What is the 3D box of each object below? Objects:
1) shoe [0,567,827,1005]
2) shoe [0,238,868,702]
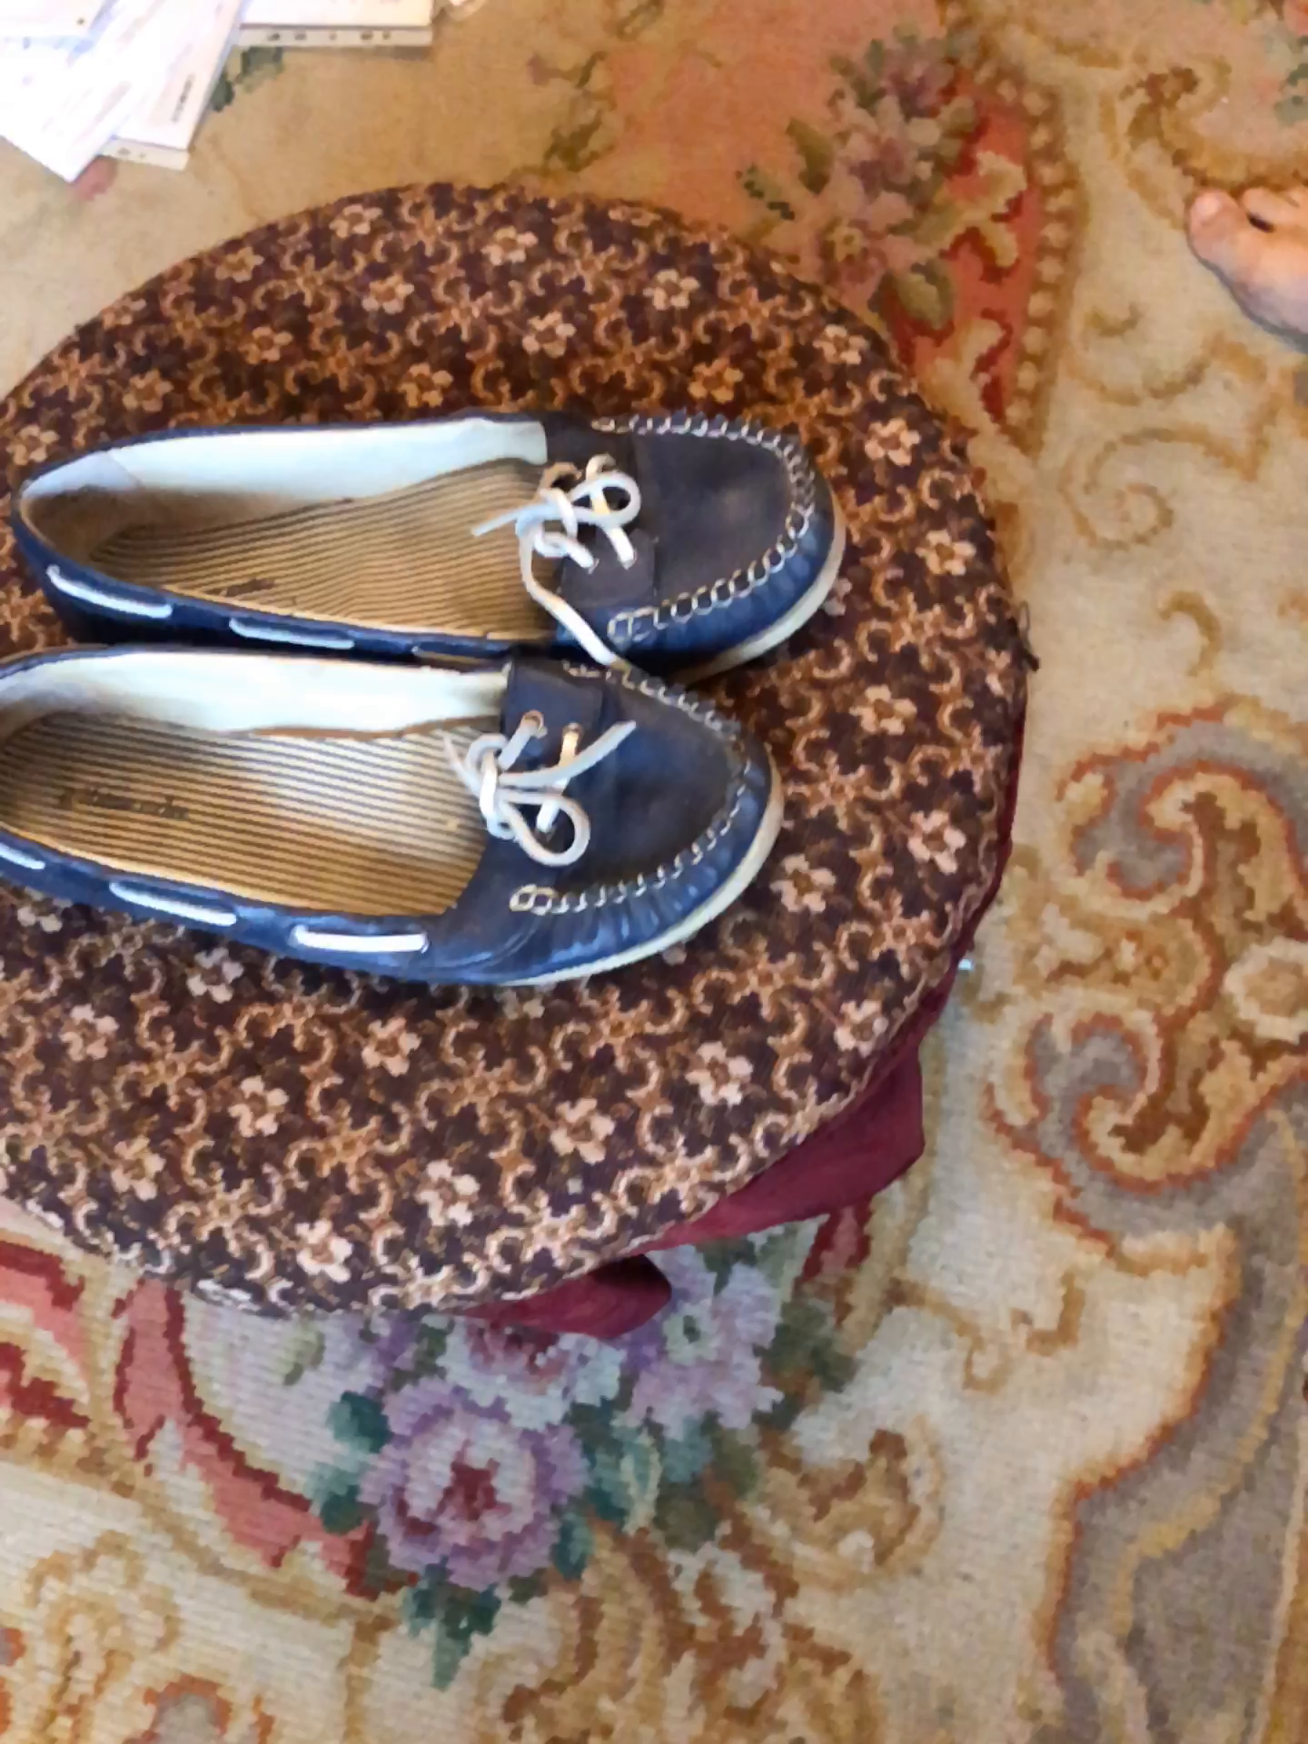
[{"bbox_3d":[-0.084,-0.023,0.405,0.250,0.100,0.090,3,78,13],"label":"shoe"},{"bbox_3d":[-0.067,-0.111,0.418,0.250,0.090,0.090,1,71,7],"label":"shoe"}]
